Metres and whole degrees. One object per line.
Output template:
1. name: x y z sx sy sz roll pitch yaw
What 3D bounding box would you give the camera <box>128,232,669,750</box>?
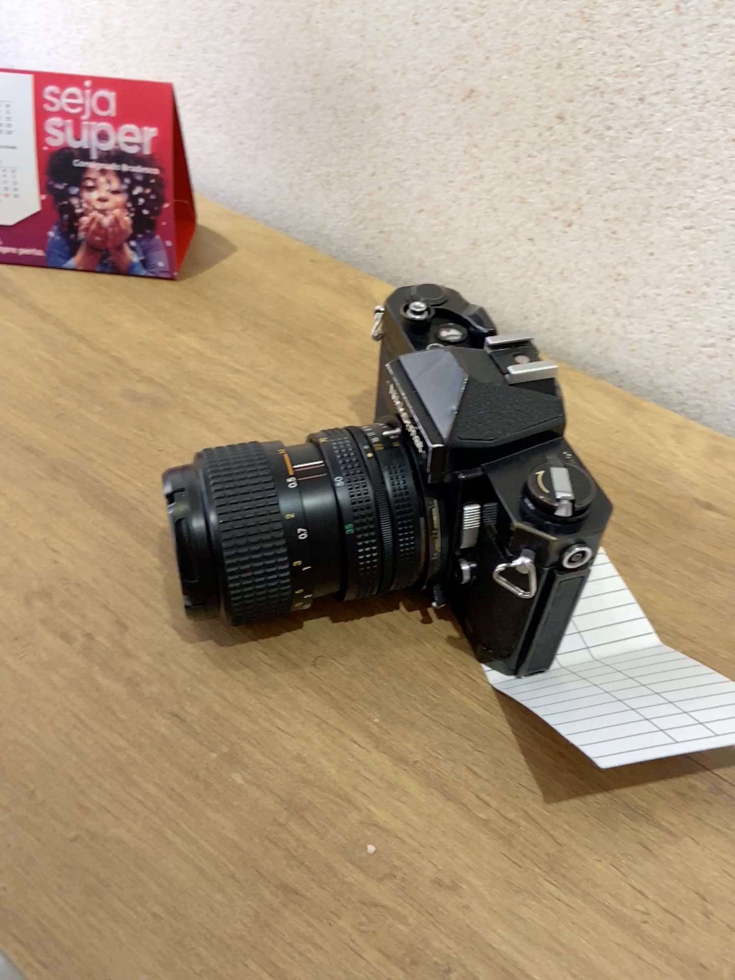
1. camera: -0.007 -0.014 0.280 0.140 0.089 0.161 -7 44 -13
